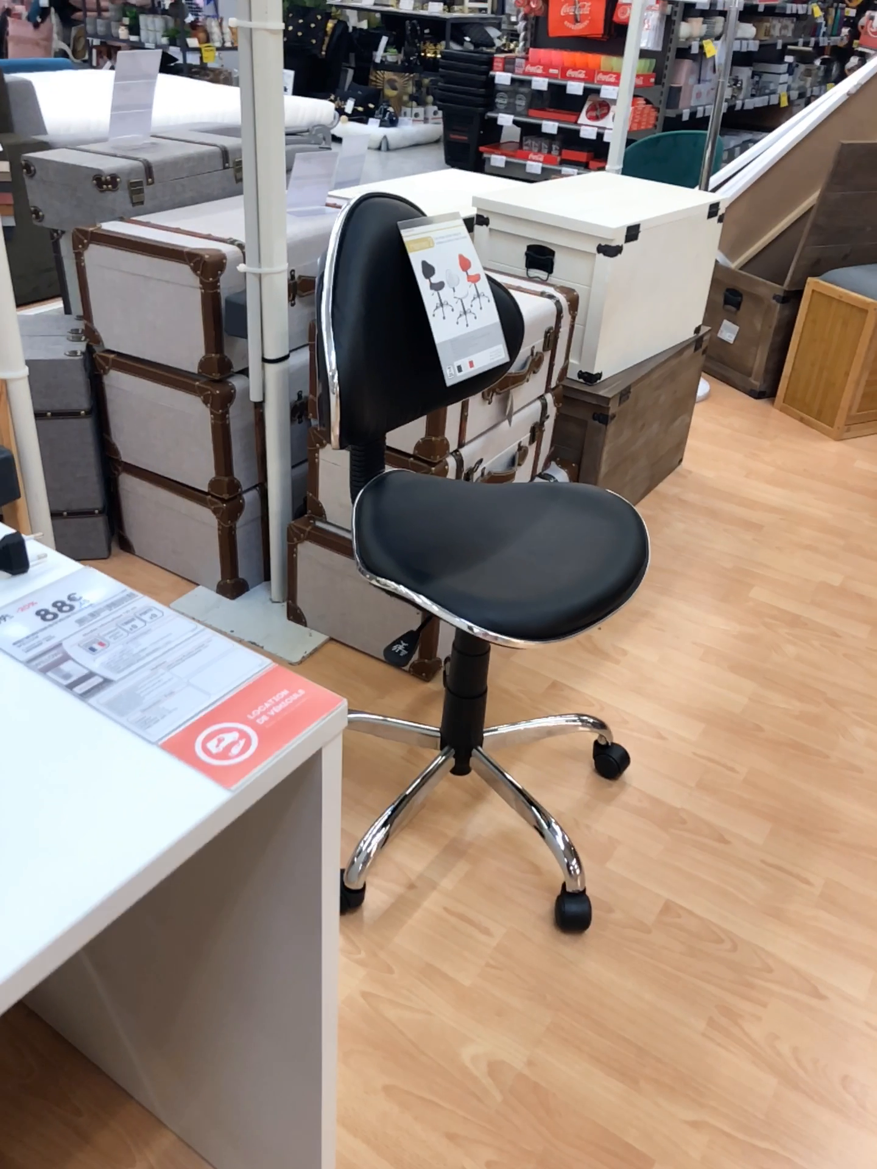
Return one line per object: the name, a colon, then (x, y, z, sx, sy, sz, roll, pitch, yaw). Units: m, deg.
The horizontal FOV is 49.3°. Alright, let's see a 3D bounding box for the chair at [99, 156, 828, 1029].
chair: (0.046, -0.043, 1.291, 0.609, 0.855, 0.604, 19, 35, 22)
